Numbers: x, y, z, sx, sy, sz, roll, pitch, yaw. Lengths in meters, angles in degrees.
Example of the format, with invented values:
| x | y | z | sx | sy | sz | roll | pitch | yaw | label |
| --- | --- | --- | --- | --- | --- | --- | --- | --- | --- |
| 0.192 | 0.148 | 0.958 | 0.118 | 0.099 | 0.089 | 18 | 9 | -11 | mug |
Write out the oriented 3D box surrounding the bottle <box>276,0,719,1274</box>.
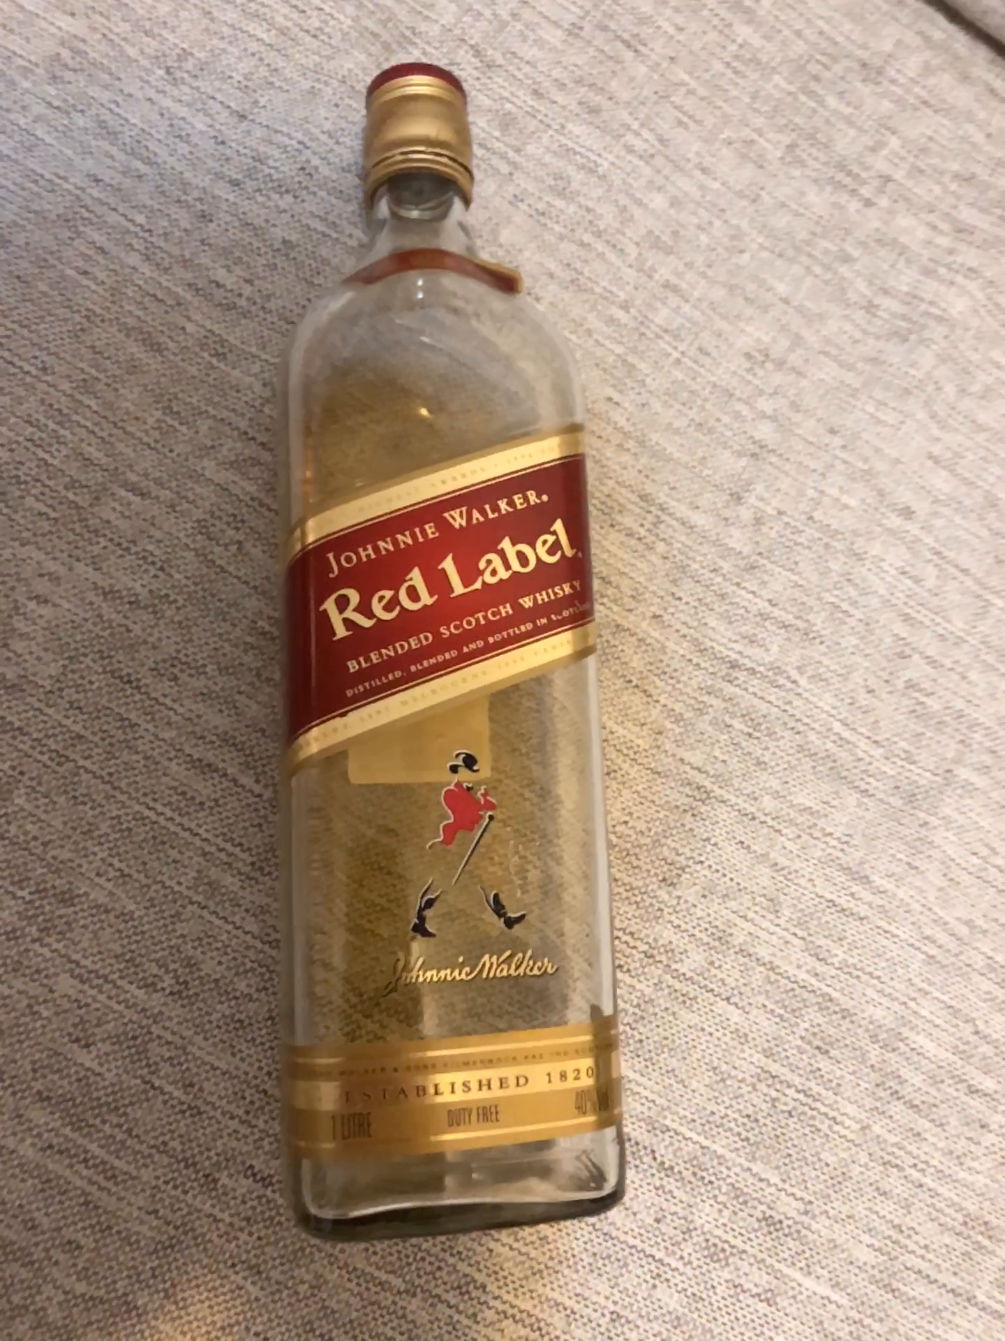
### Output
| x | y | z | sx | sy | sz | roll | pitch | yaw | label |
| --- | --- | --- | --- | --- | --- | --- | --- | --- | --- |
| -0.011 | -0.031 | 0.285 | 0.090 | 0.070 | 0.310 | 0 | 81 | -13 | bottle |
